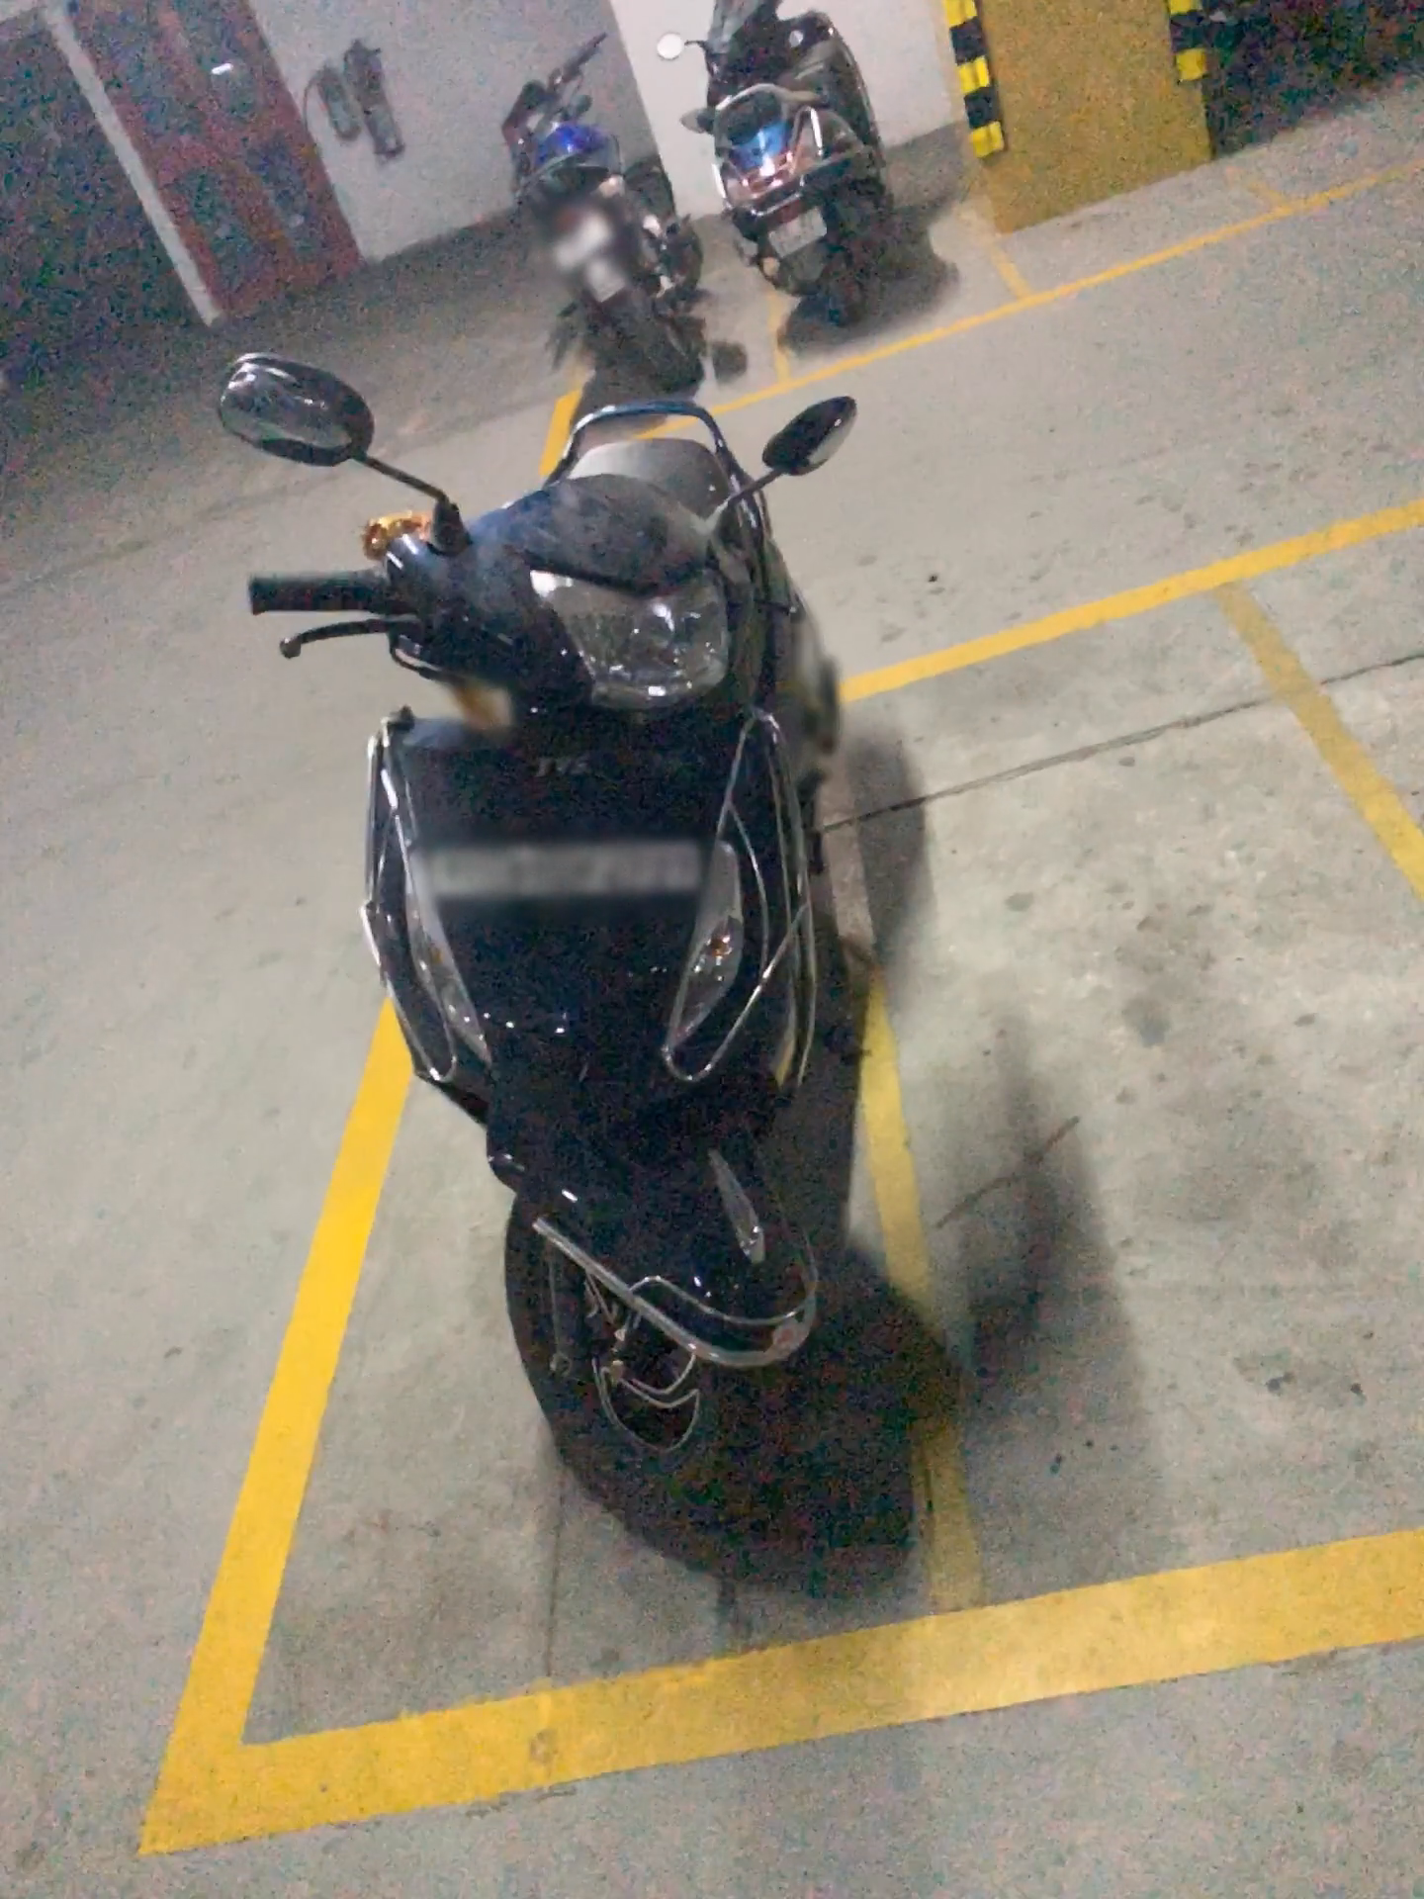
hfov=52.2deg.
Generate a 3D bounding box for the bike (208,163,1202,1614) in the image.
[{"bbox_3d":[-0.015,-0.245,2.054,0.664,1.028,1.703,-18,38,7],"label":"bike"}]
